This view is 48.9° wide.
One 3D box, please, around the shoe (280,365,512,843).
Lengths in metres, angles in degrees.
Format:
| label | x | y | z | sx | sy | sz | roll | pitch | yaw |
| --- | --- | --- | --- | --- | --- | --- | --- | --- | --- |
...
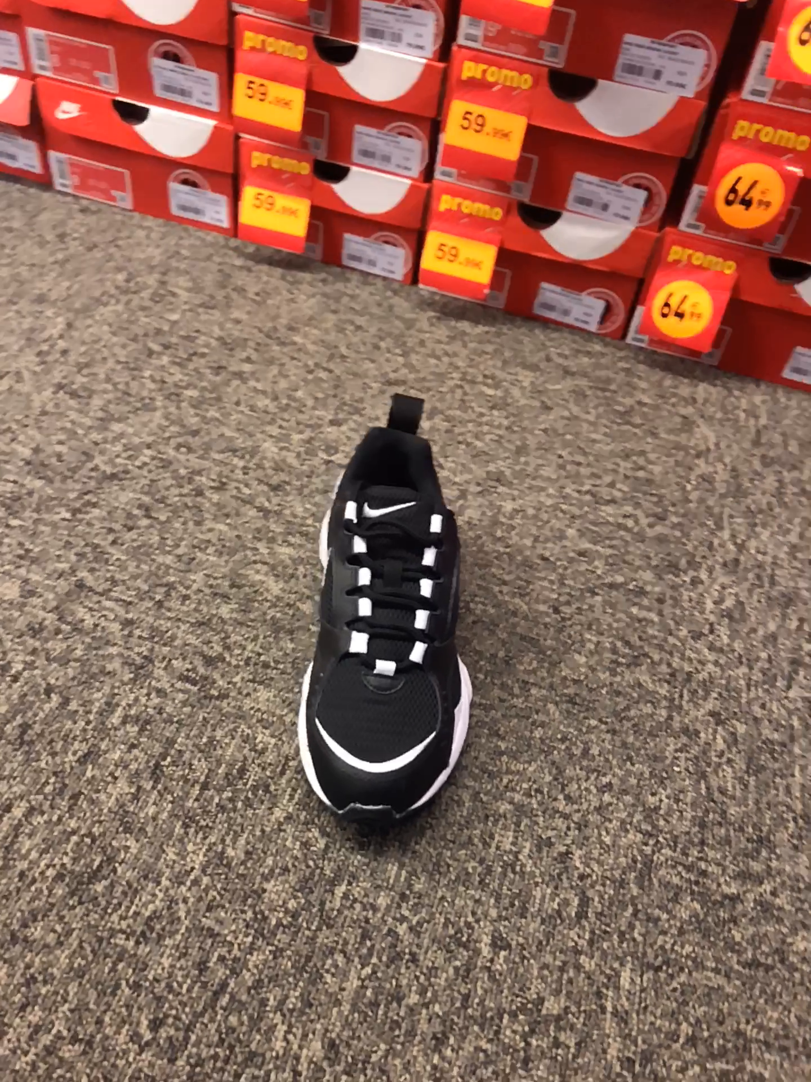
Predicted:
| label | x | y | z | sx | sy | sz | roll | pitch | yaw |
| --- | --- | --- | --- | --- | --- | --- | --- | --- | --- |
| shoe | -0.009 | 0.026 | 0.526 | 0.104 | 0.109 | 0.261 | 4 | 49 | -5 |
